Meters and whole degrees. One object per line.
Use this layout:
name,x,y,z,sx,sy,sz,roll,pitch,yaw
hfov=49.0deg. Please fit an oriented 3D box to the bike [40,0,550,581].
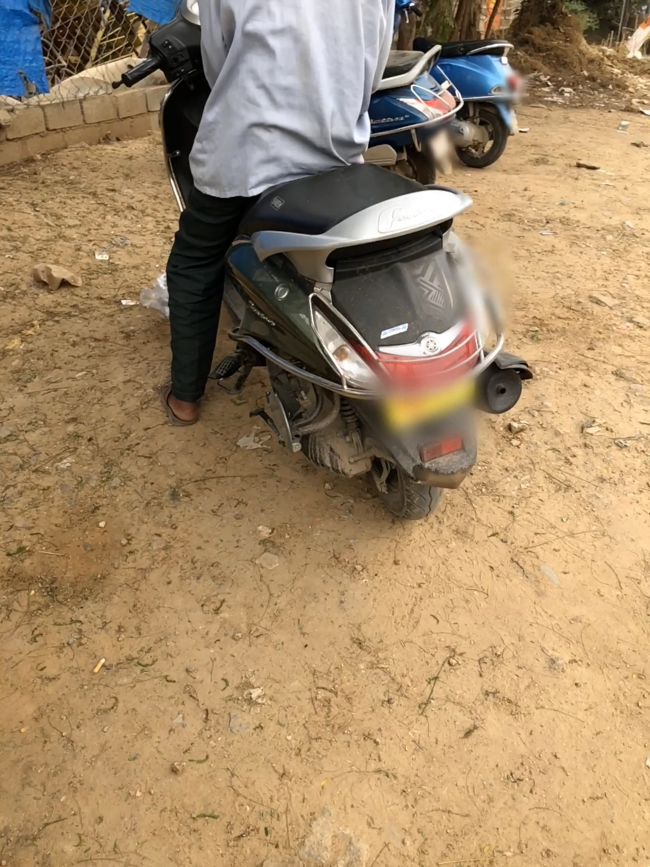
bike,-0.277,-0.663,1.981,0.624,1.054,1.728,-11,37,-20
